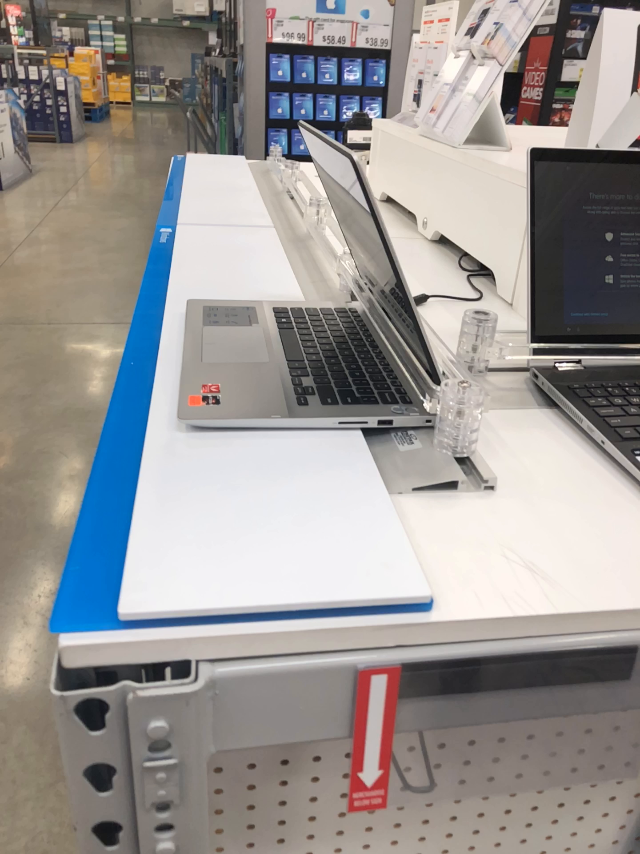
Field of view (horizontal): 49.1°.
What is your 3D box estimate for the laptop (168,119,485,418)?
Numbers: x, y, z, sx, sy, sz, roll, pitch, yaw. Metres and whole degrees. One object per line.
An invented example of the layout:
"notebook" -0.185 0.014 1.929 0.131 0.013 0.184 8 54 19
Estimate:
"laptop" -0.019 -0.170 0.668 0.222 0.198 0.320 -1 27 -8
